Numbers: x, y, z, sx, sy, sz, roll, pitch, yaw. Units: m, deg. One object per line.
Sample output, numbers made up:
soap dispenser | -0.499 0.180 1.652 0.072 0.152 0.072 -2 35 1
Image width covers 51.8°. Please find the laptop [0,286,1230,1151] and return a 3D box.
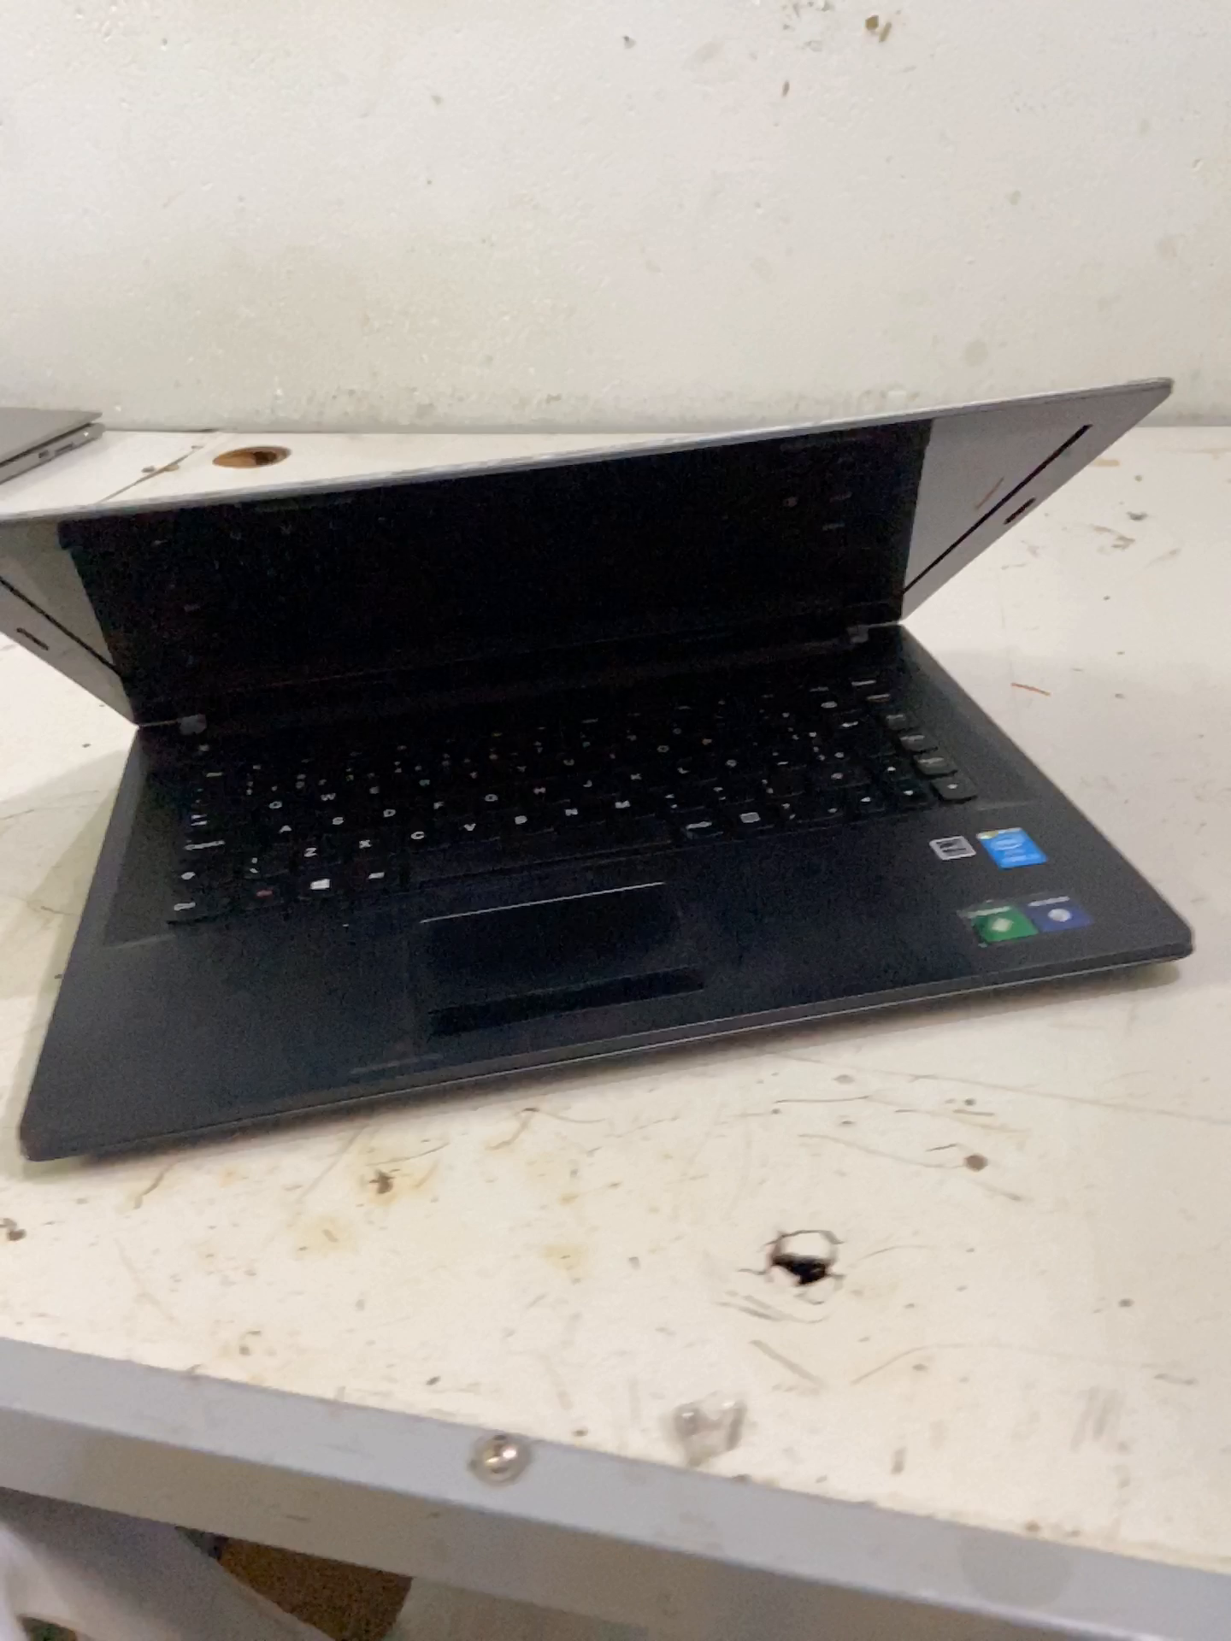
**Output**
laptop | -0.019 -0.064 0.430 0.344 0.148 0.246 -9 32 -7
